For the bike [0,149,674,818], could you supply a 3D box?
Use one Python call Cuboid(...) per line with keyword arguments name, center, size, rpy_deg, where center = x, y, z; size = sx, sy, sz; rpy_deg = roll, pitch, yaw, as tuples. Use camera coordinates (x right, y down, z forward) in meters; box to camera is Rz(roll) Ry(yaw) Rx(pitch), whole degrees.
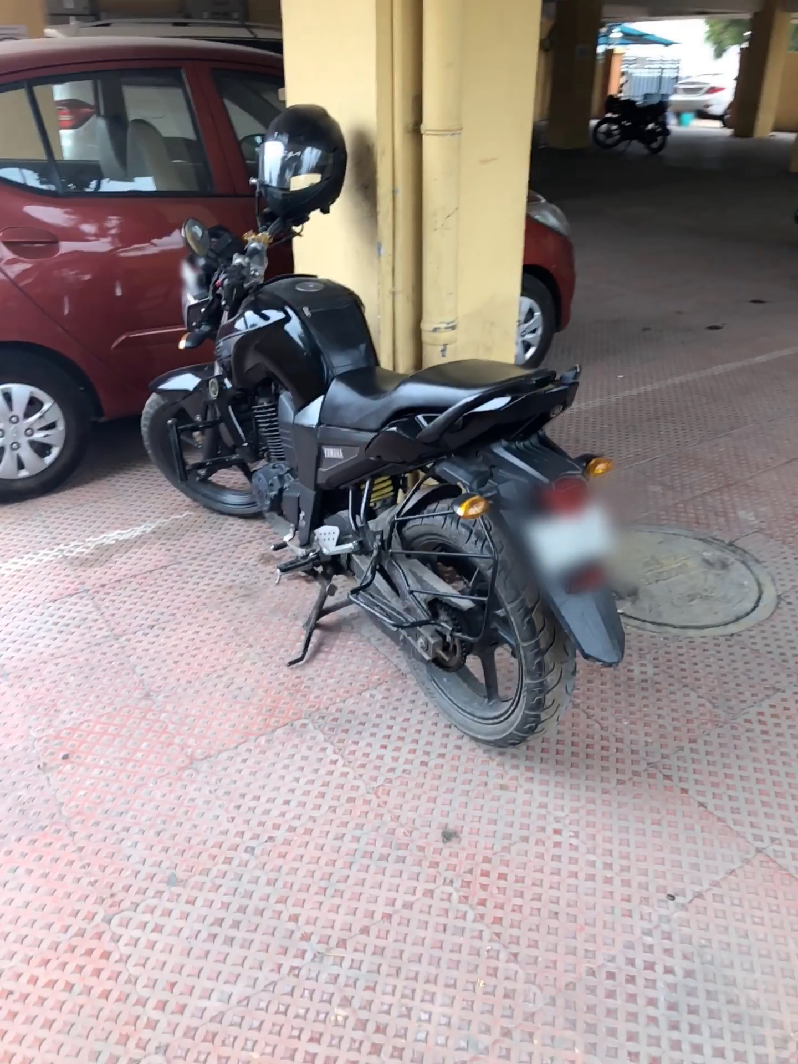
Cuboid(name="bike", center=(-0.340, -0.312, 2.287), size=(0.611, 1.052, 1.804), rpy_deg=(-23, 38, -37))
